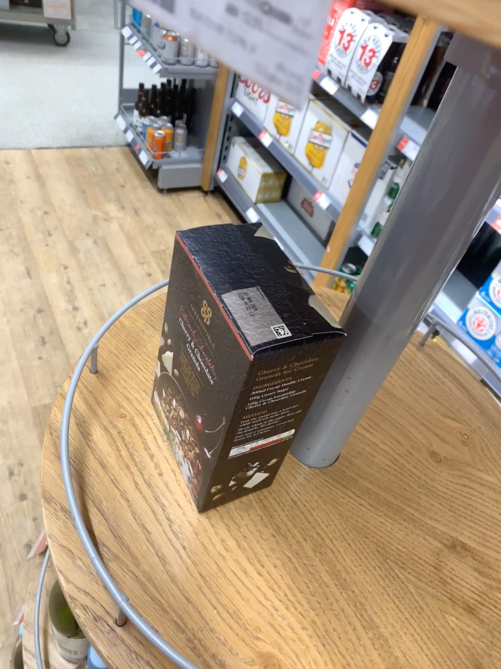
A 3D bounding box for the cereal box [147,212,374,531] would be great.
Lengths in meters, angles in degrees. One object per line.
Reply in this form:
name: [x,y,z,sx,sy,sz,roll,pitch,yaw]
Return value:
cereal box: [-0.013,0.036,0.426,0.090,0.218,0.141,-12,51,-26]
